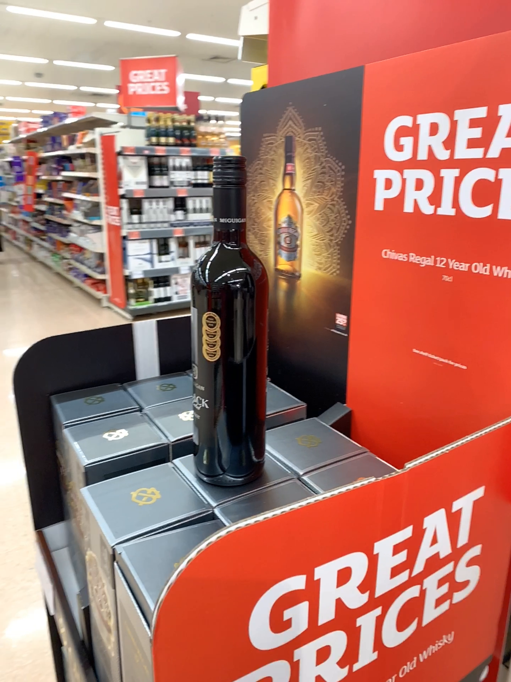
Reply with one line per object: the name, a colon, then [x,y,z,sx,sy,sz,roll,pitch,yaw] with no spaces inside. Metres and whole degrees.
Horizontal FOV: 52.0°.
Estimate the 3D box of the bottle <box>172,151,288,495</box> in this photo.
bottle: [-0.024,-0.015,0.468,0.080,0.288,0.070,-5,17,-16]
